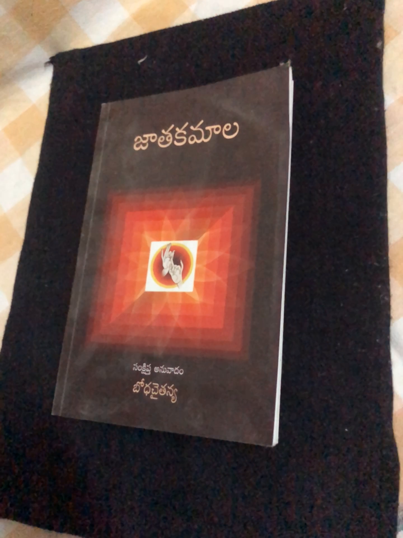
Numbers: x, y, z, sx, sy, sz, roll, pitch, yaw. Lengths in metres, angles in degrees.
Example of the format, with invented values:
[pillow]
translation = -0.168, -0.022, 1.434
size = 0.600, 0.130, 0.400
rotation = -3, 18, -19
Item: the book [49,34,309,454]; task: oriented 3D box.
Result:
[book]
translation = -0.013, -0.018, 0.258
size = 0.140, 0.020, 0.210
rotation = -2, 76, 28
